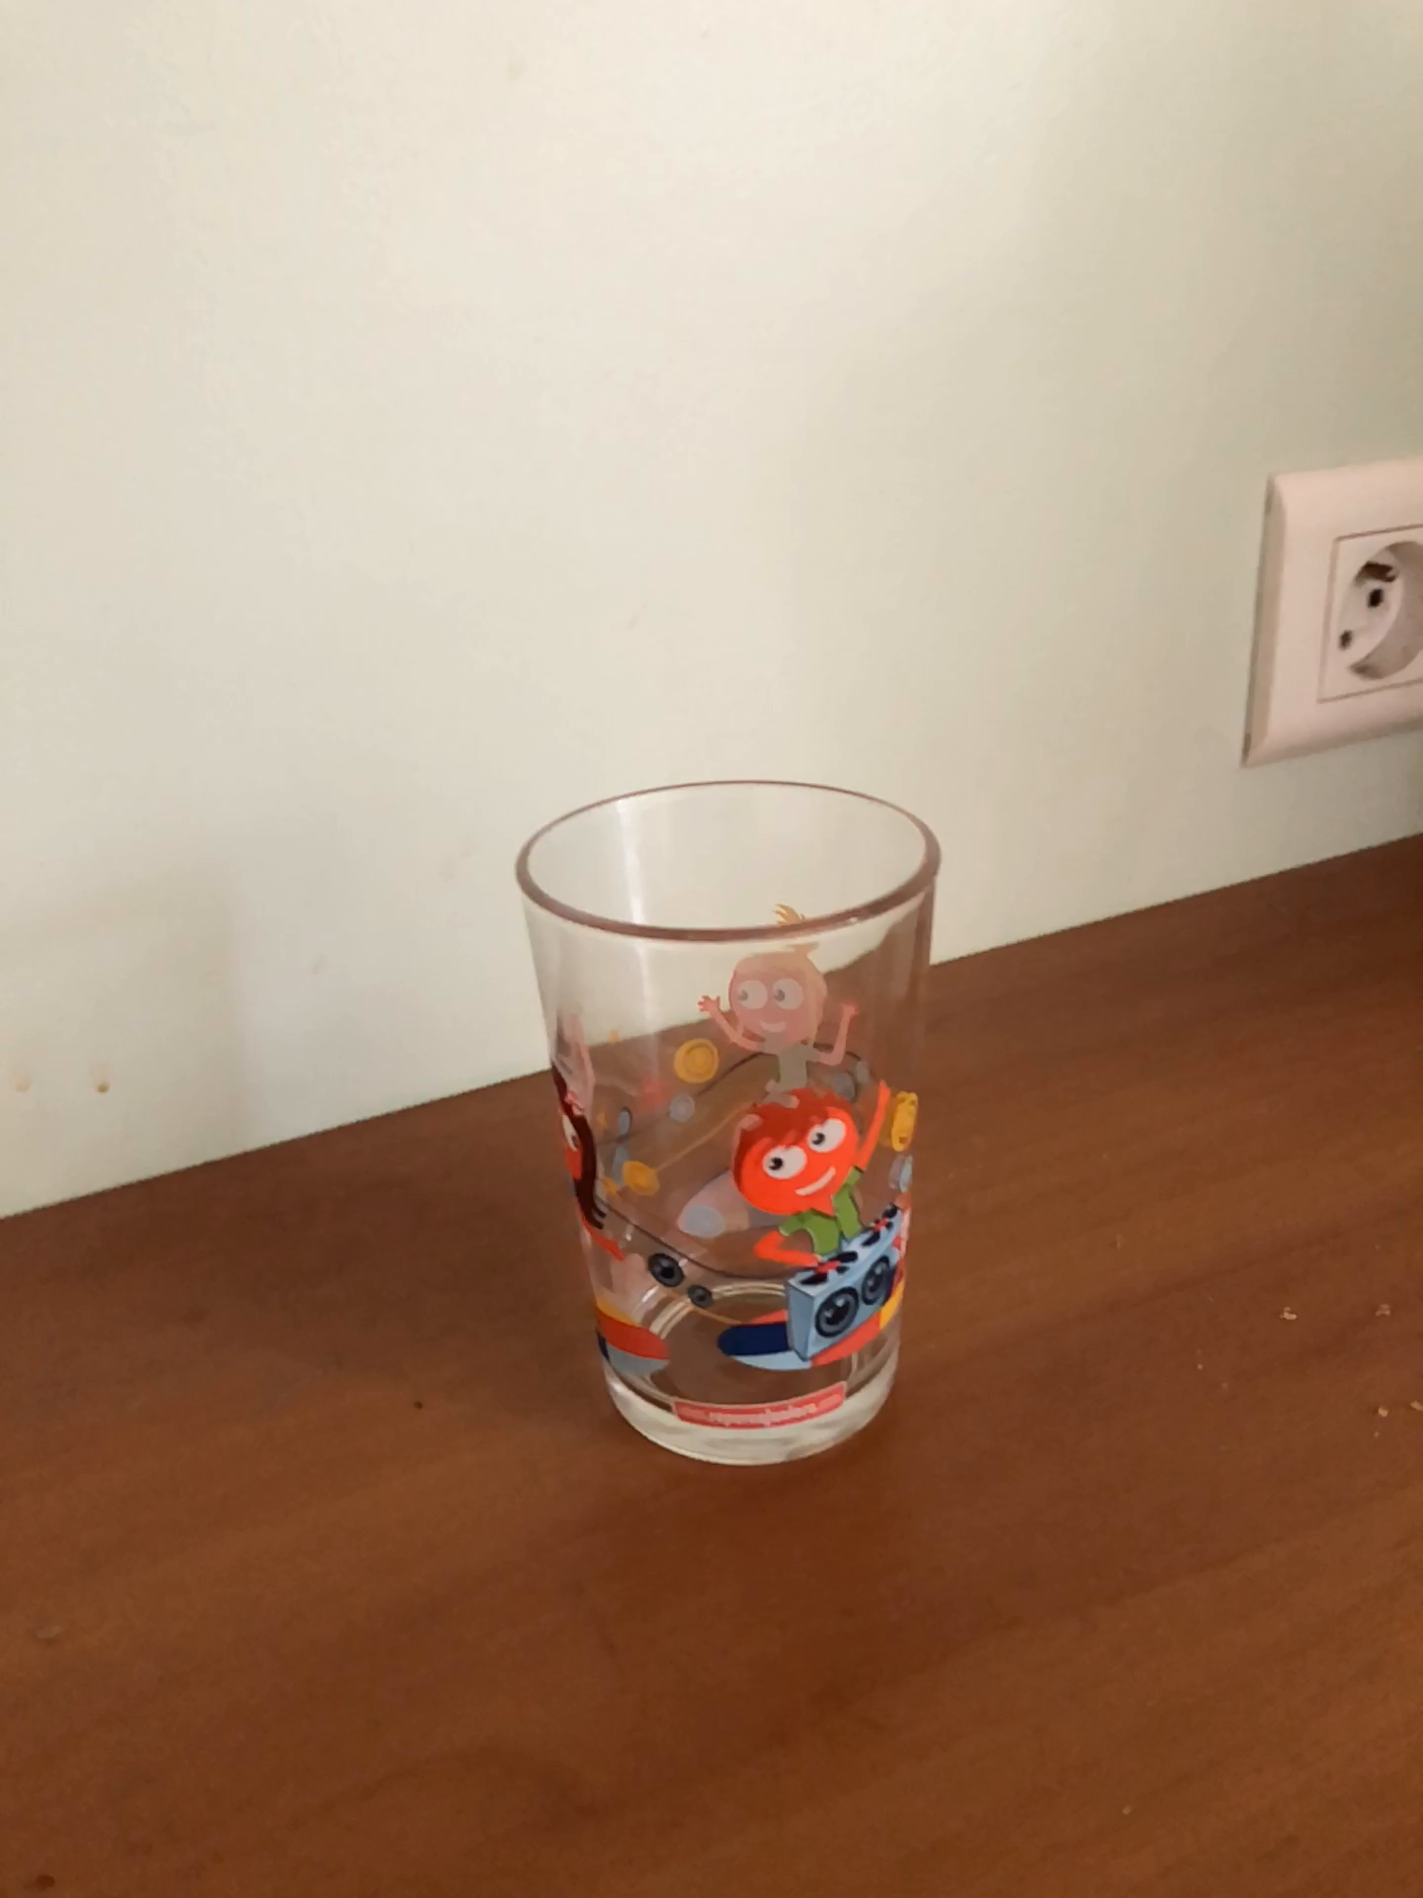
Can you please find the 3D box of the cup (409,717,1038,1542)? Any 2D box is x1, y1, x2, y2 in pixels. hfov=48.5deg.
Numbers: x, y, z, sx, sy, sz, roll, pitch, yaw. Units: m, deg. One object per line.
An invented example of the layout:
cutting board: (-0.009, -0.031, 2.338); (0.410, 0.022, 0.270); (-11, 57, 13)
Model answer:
cup: (0.002, 0.024, 0.263); (0.070, 0.099, 0.070); (-2, 24, 1)
